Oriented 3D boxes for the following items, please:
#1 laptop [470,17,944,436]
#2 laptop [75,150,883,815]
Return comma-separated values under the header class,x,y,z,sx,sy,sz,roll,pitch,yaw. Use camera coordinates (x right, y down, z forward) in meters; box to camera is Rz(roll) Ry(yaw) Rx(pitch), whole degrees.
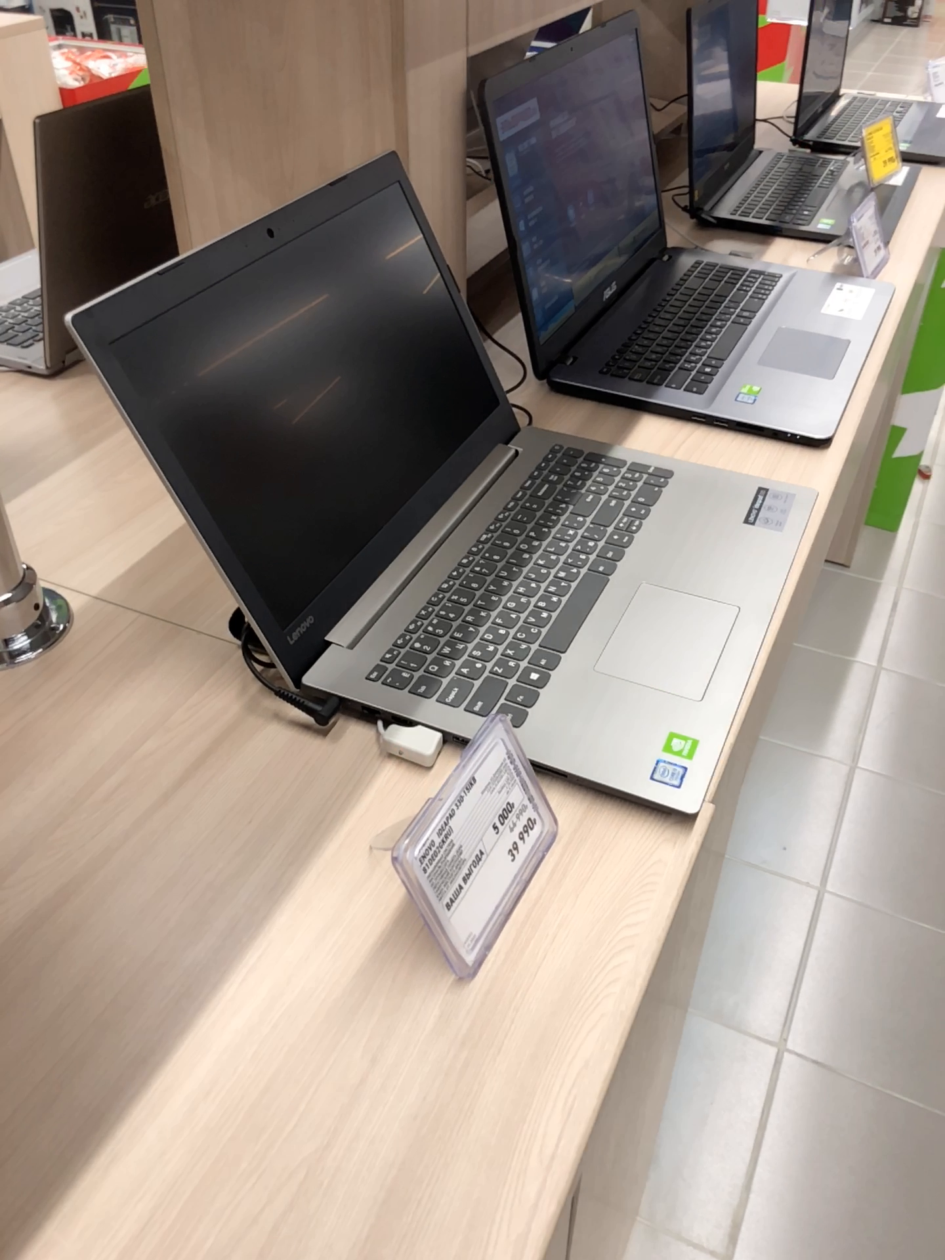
class,x,y,z,sx,sy,sz,roll,pitch,yaw
laptop,0.240,-0.421,1.024,0.334,0.246,0.404,17,41,18
laptop,0.032,-0.138,0.683,0.365,0.208,0.372,16,41,18
